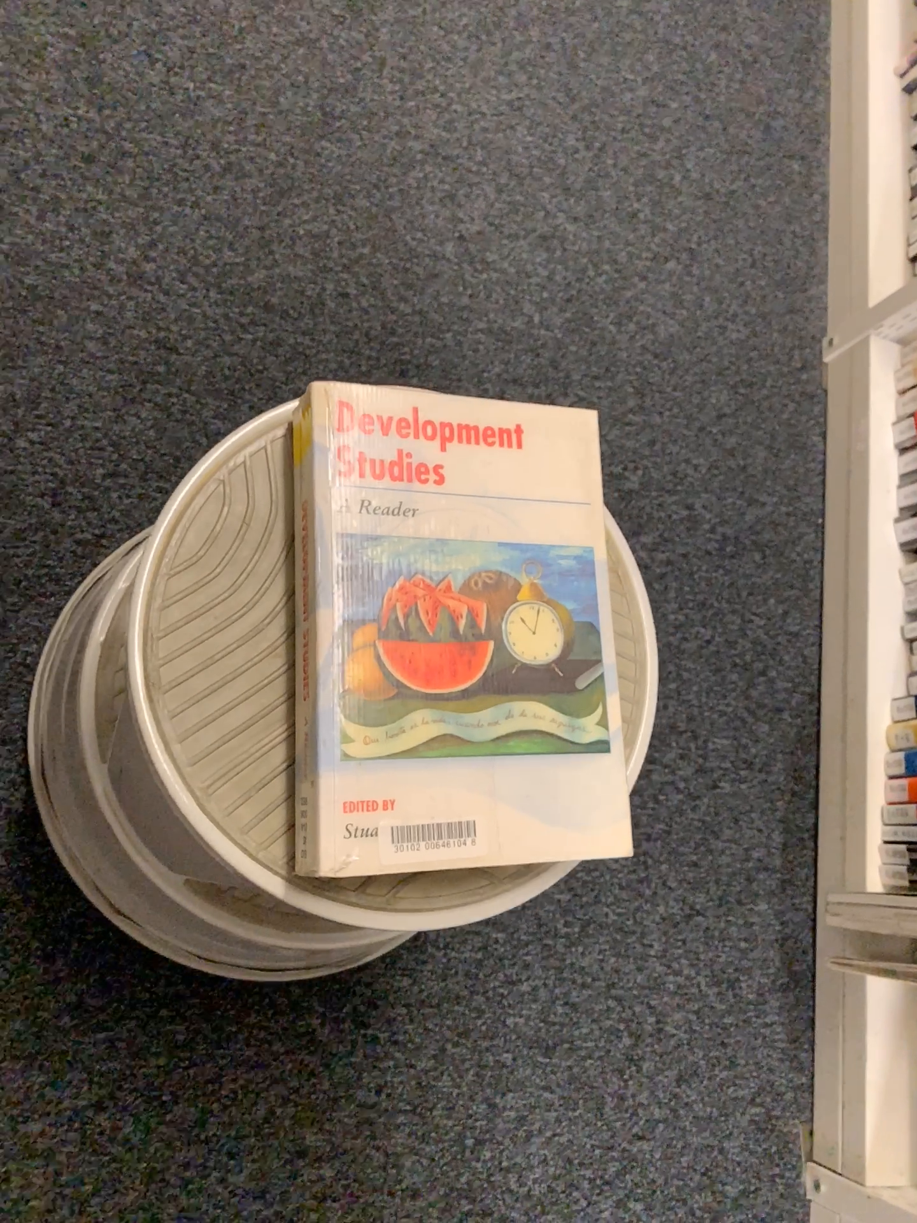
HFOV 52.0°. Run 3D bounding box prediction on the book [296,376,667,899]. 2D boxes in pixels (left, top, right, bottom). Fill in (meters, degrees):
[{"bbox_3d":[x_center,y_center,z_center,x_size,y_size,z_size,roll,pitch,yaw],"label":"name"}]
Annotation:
[{"bbox_3d":[0.008,0.011,0.446,0.160,0.046,0.225,2,77,-21],"label":"book"}]
